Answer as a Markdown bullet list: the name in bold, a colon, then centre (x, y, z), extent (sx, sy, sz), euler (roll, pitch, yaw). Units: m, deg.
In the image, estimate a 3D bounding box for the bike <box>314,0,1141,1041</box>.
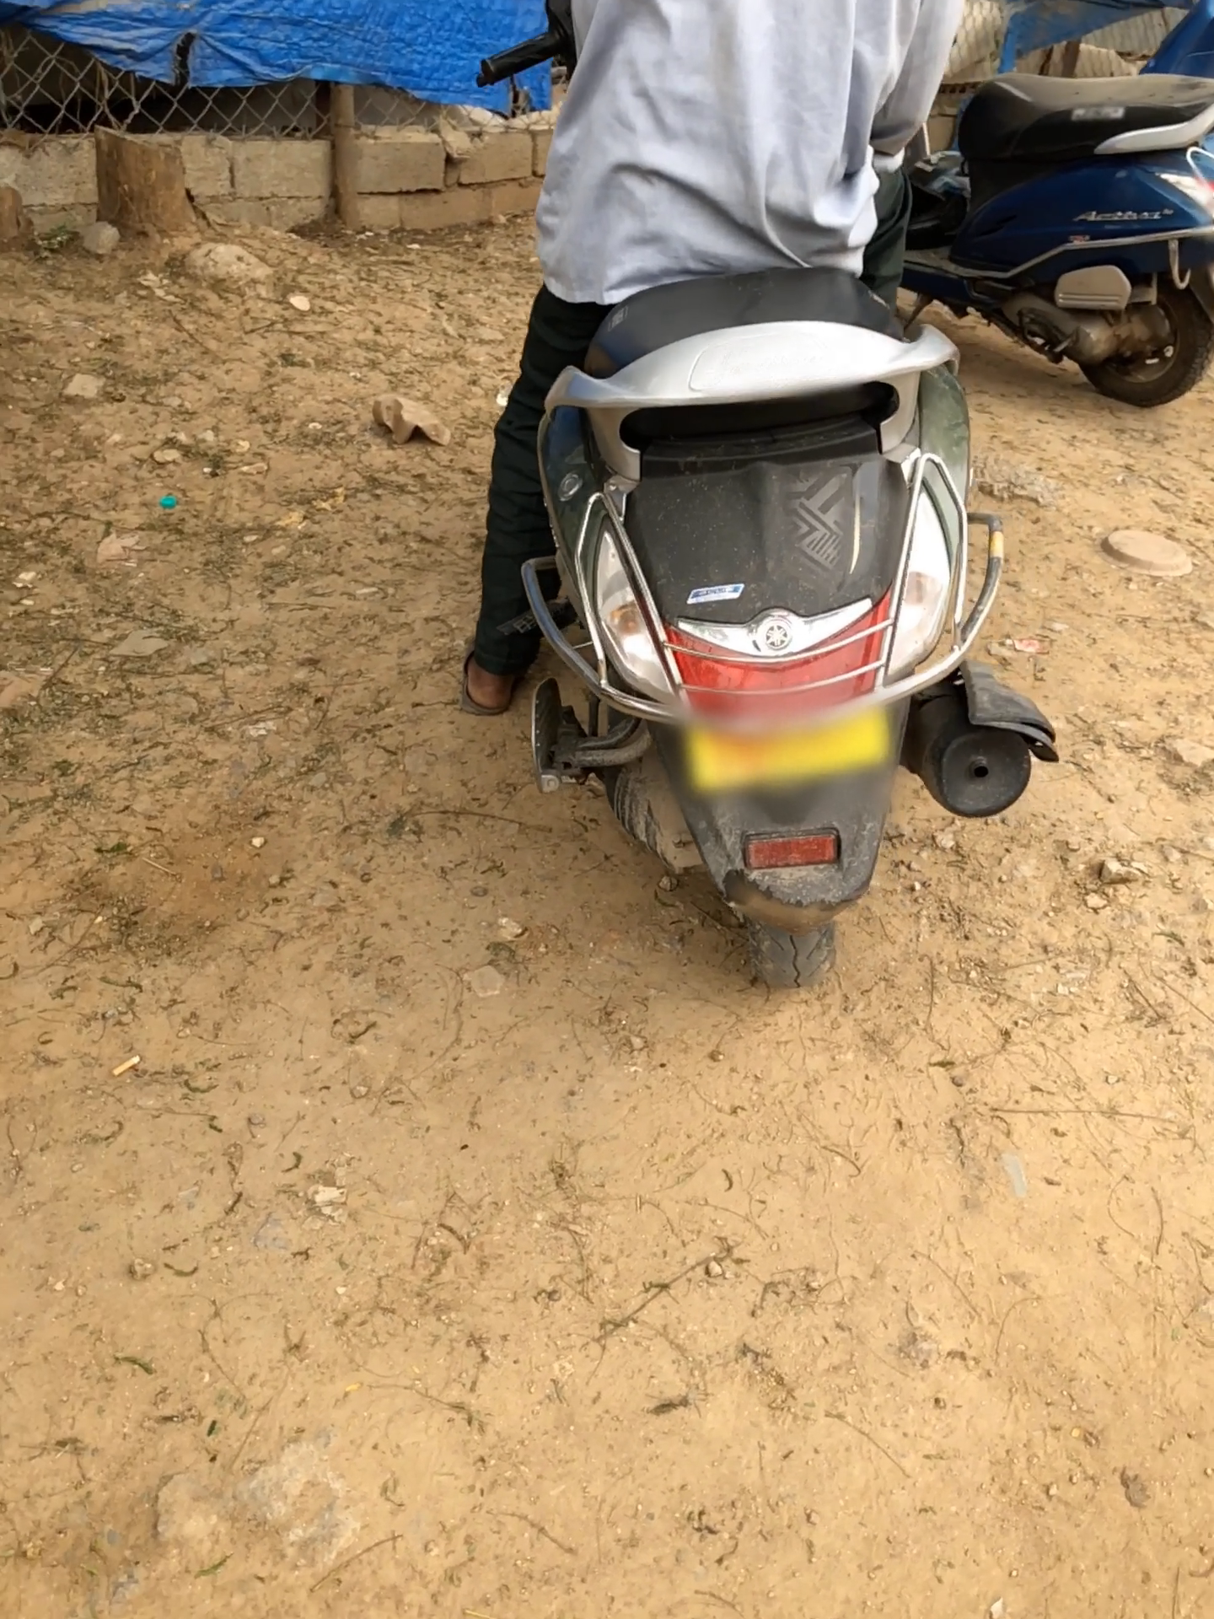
- **bike**: centre (0.039, -0.743, 1.966), extent (0.622, 1.054, 1.732), euler (3, 36, -2)
